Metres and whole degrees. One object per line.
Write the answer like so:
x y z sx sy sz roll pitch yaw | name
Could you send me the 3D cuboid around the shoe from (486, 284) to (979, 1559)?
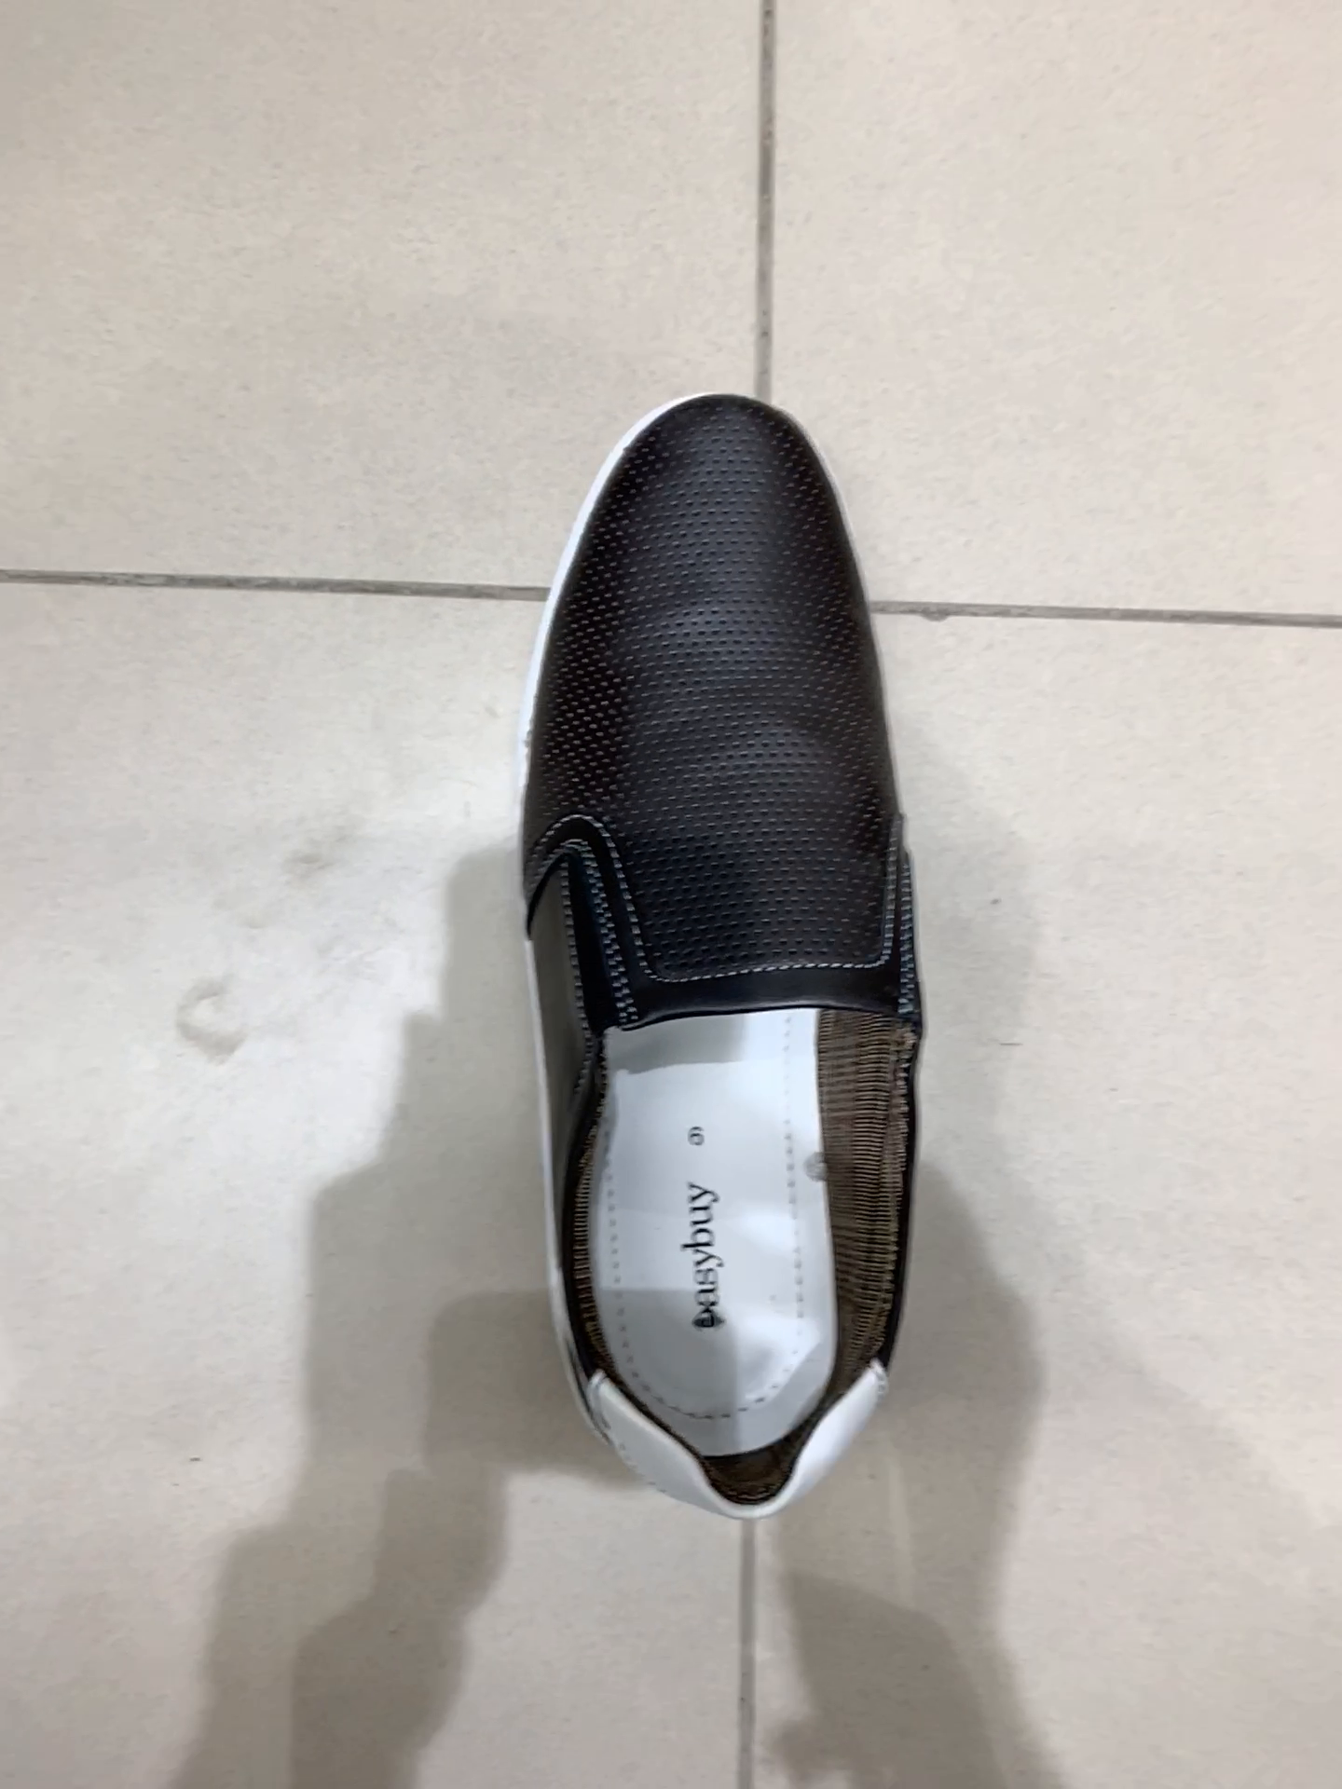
0.011 0.004 0.372 0.110 0.090 0.300 -1 85 -3 | shoe
